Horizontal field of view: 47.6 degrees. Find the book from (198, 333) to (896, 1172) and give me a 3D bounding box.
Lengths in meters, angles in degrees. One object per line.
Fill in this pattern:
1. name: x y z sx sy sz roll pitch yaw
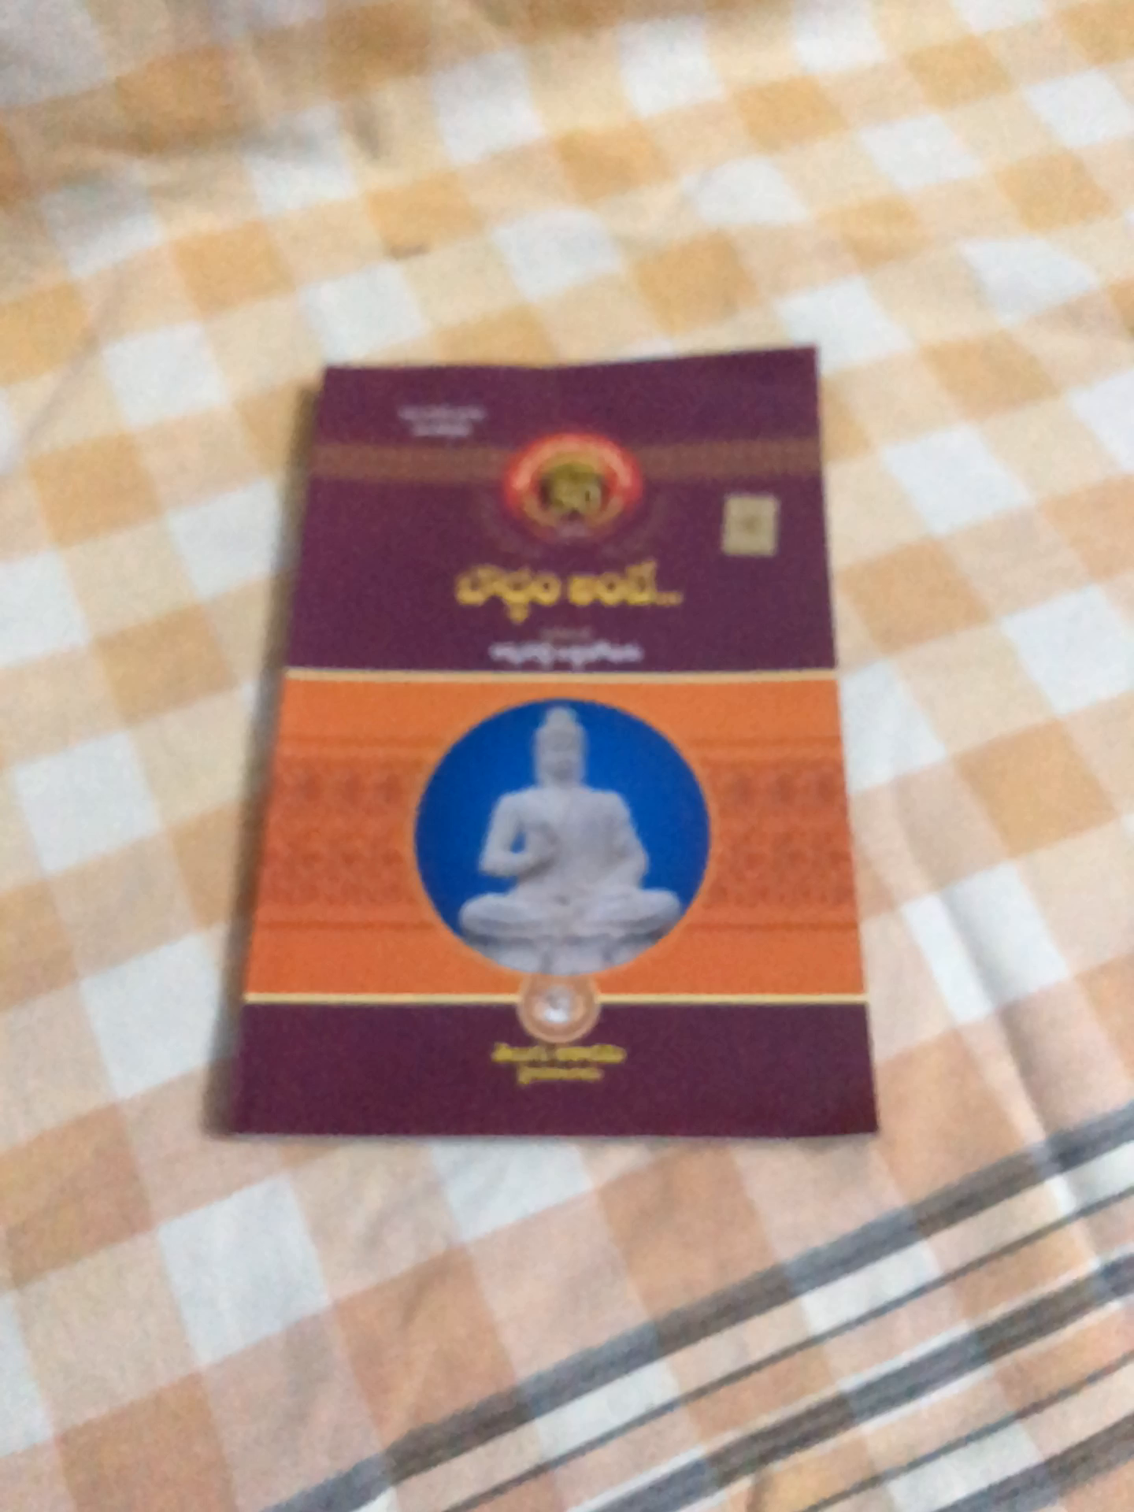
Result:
1. book: -0.002 -0.014 0.353 0.160 0.020 0.241 2 65 -1
